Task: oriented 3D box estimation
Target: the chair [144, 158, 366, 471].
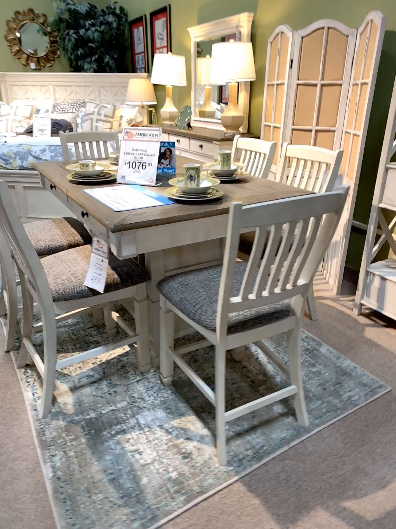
[{"bbox_3d":[0.148,0.125,1.539,0.490,0.926,0.592,-11,26,-27],"label":"chair"}]
